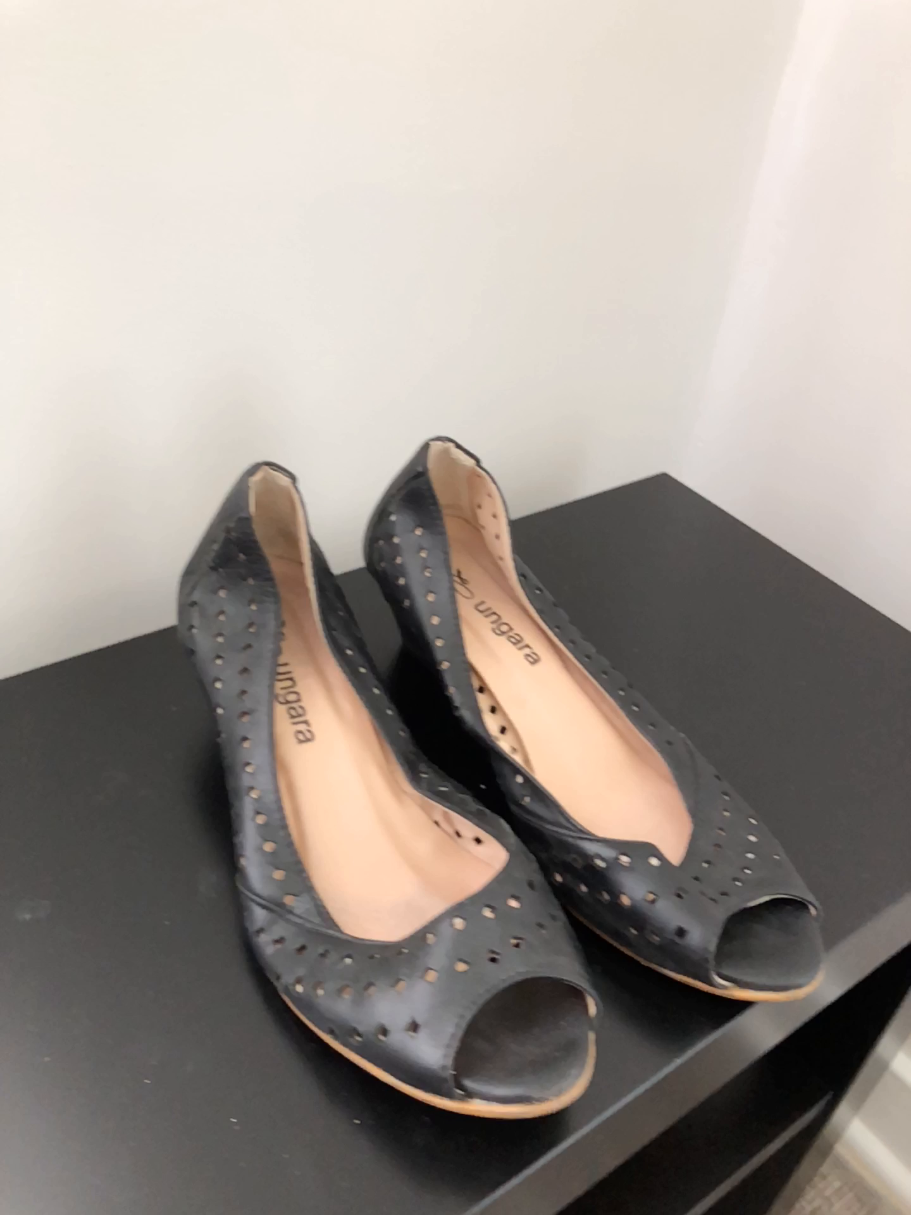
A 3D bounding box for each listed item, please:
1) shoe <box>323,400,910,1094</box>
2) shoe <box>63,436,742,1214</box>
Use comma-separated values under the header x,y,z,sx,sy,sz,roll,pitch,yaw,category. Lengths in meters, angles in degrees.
x,y,z,sx,sy,sz,roll,pitch,yaw,category
0.048,0.027,0.348,0.085,0.100,0.221,-20,44,-31,shoe
-0.037,0.049,0.318,0.085,0.100,0.231,-18,43,-30,shoe
